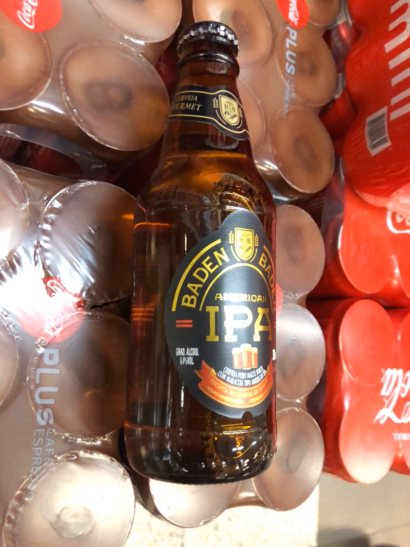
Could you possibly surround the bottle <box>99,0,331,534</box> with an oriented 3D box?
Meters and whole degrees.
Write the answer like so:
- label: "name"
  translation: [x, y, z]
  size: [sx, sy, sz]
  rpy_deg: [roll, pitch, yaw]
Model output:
- label: "bottle"
  translation: [0.004, -0.024, 0.185]
  size: [0.070, 0.050, 0.210]
  rpy_deg: [6, 80, -32]
